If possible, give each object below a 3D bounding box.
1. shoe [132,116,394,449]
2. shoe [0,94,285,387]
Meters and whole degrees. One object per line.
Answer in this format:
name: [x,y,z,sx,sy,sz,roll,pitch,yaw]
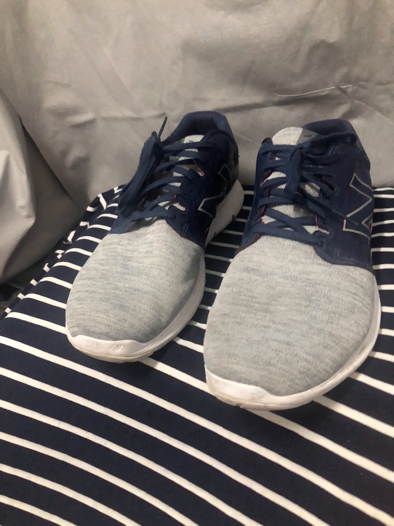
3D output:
shoe: [0.077,-0.023,0.312,0.120,0.079,0.262,8,38,22]
shoe: [-0.018,-0.058,0.392,0.120,0.089,0.322,8,38,22]
